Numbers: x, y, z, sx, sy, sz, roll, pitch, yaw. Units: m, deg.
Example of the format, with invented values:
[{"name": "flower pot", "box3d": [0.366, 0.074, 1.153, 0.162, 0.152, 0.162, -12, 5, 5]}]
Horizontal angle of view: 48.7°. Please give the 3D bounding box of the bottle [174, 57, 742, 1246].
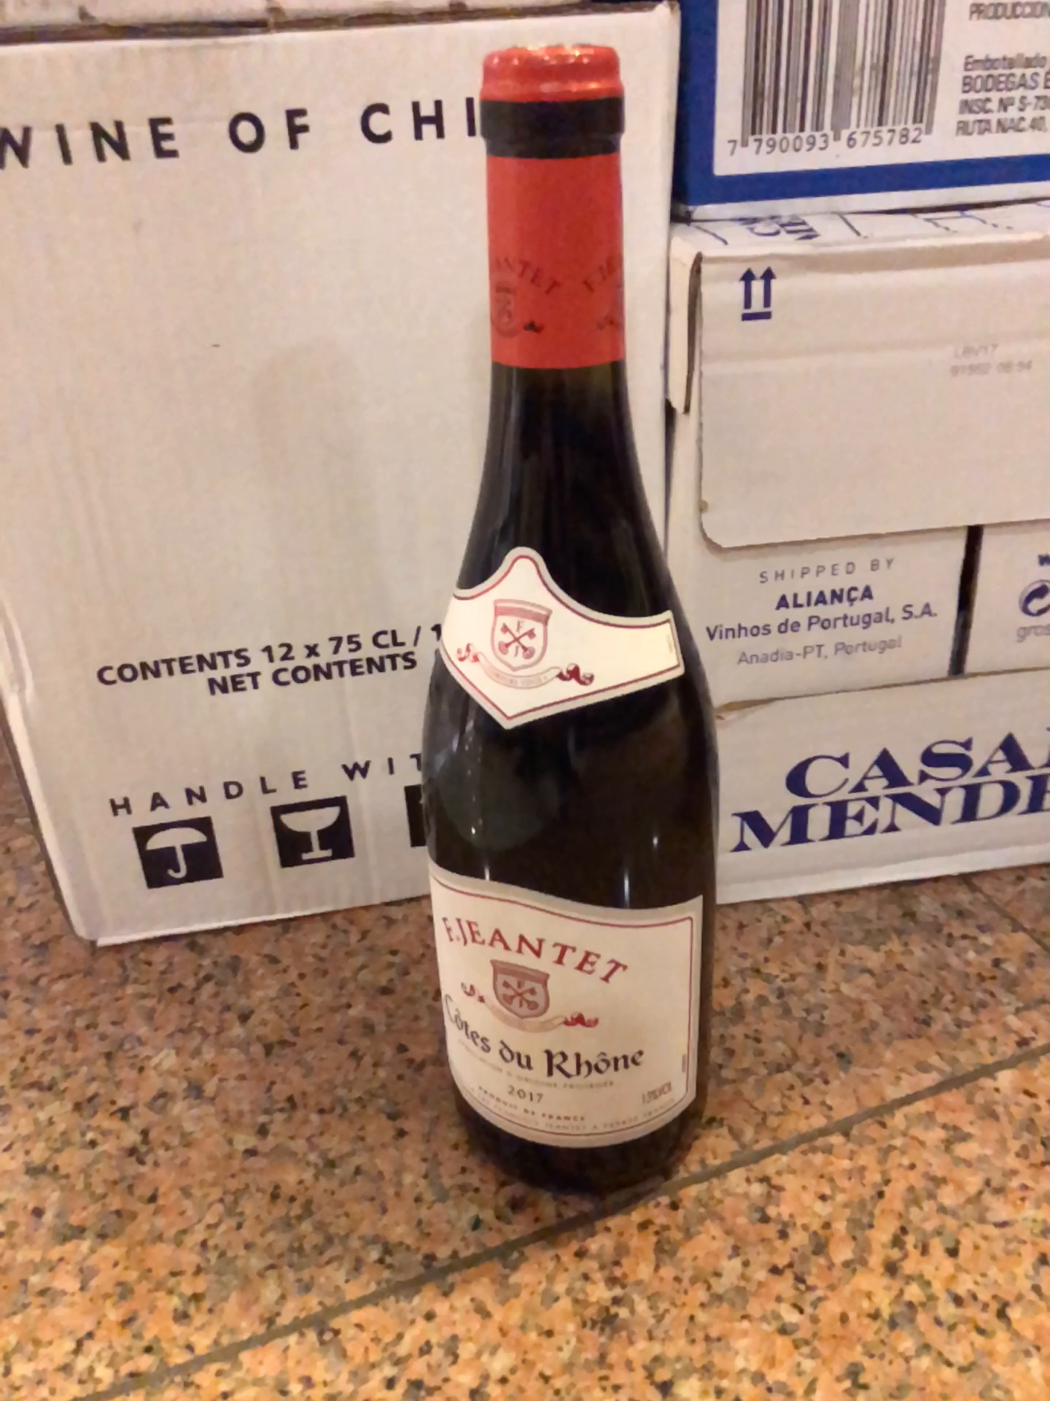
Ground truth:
[{"name": "bottle", "box3d": [-0.002, 0.001, 0.300, 0.090, 0.288, 0.081, 7, 30, 18]}]
